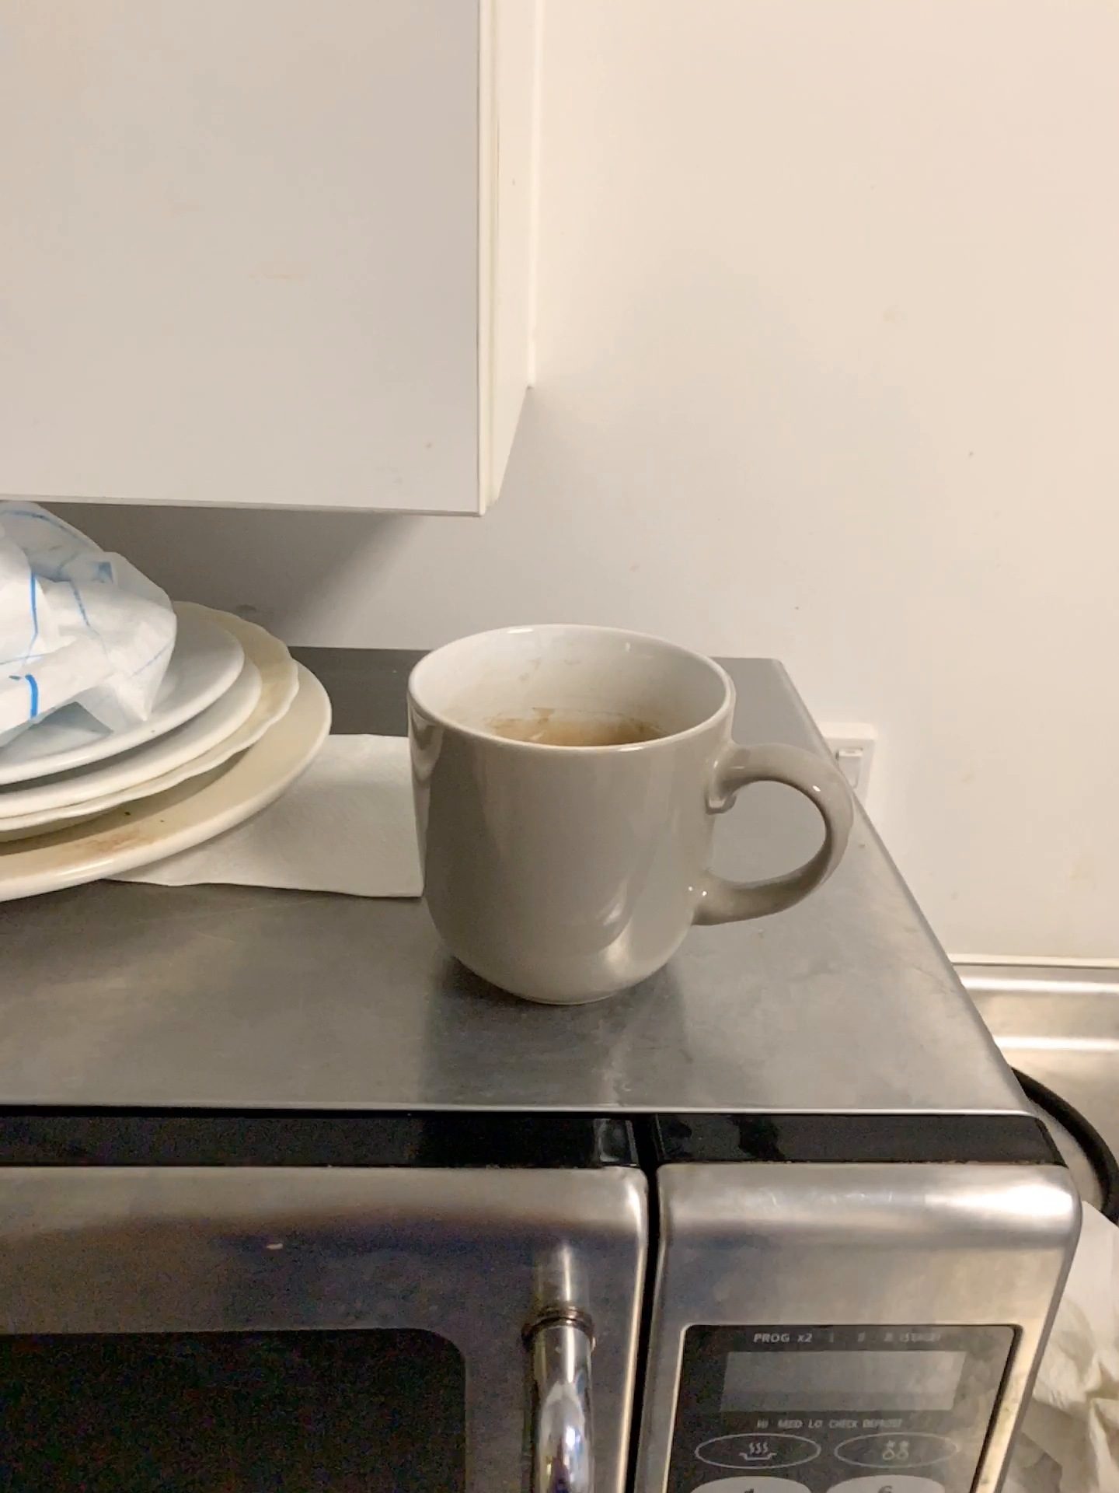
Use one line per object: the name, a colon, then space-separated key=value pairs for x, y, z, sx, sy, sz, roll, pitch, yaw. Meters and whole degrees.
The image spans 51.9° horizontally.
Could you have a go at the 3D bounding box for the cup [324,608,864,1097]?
cup: x=0.015 y=0.021 z=0.323 sx=0.124 sy=0.079 sz=0.102 roll=8 pitch=25 yaw=14
